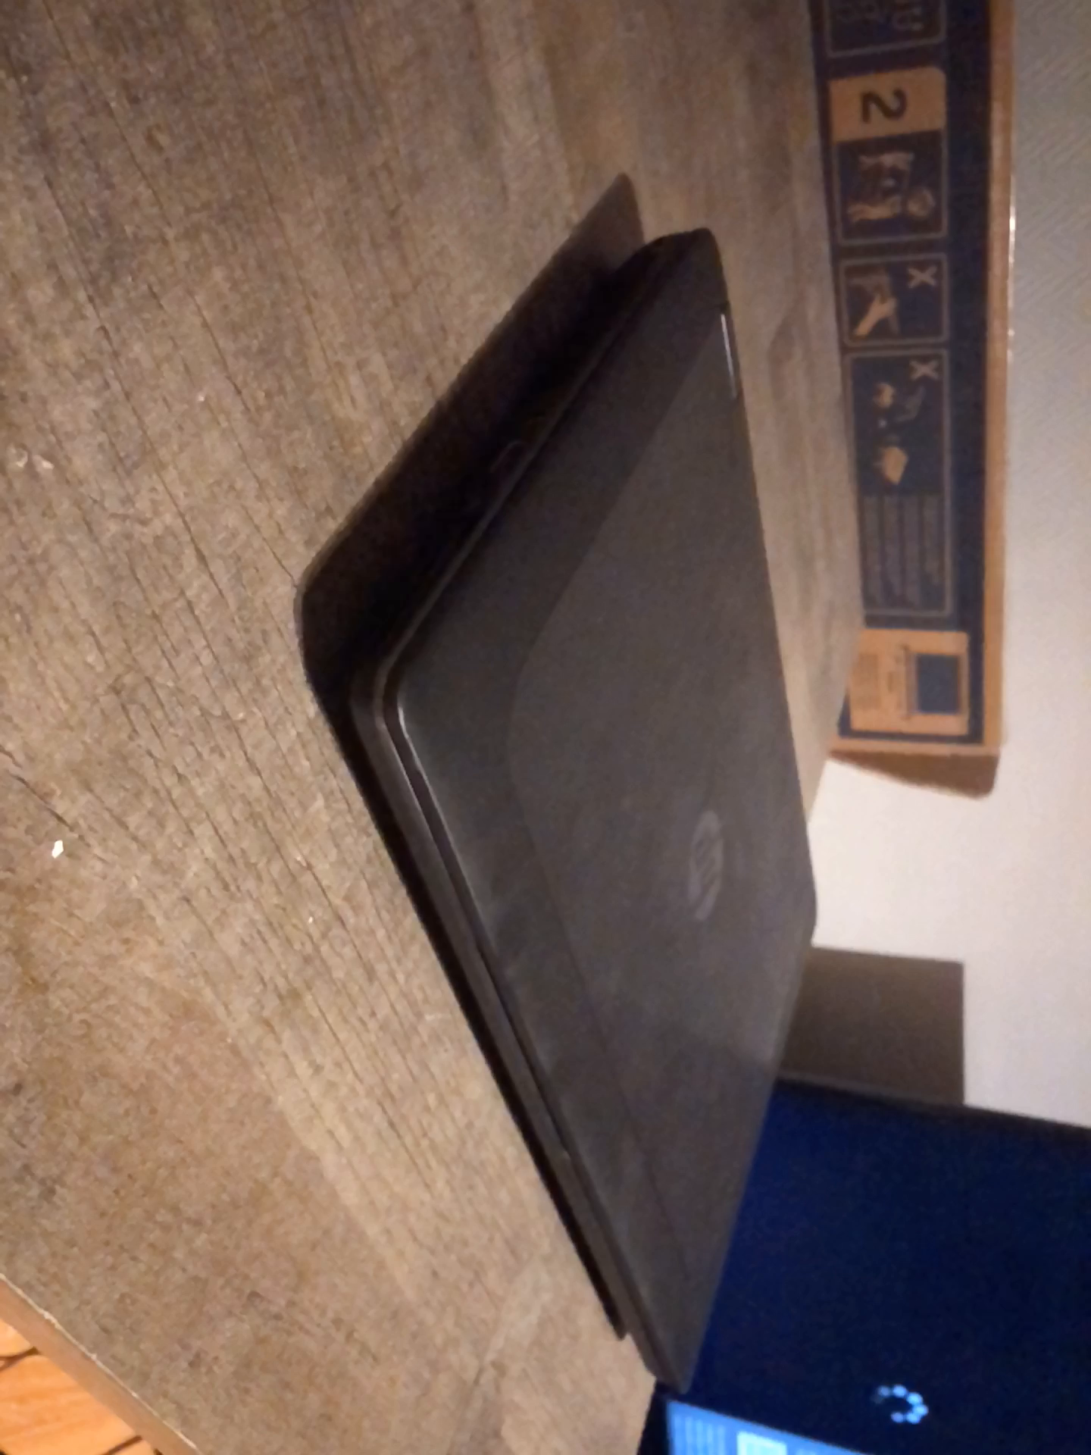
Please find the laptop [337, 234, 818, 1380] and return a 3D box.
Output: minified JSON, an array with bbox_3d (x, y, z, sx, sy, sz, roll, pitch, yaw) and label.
[{"bbox_3d":[0.050,0.047,0.454,0.241,0.017,0.366,-62,146,-41],"label":"laptop"}]
